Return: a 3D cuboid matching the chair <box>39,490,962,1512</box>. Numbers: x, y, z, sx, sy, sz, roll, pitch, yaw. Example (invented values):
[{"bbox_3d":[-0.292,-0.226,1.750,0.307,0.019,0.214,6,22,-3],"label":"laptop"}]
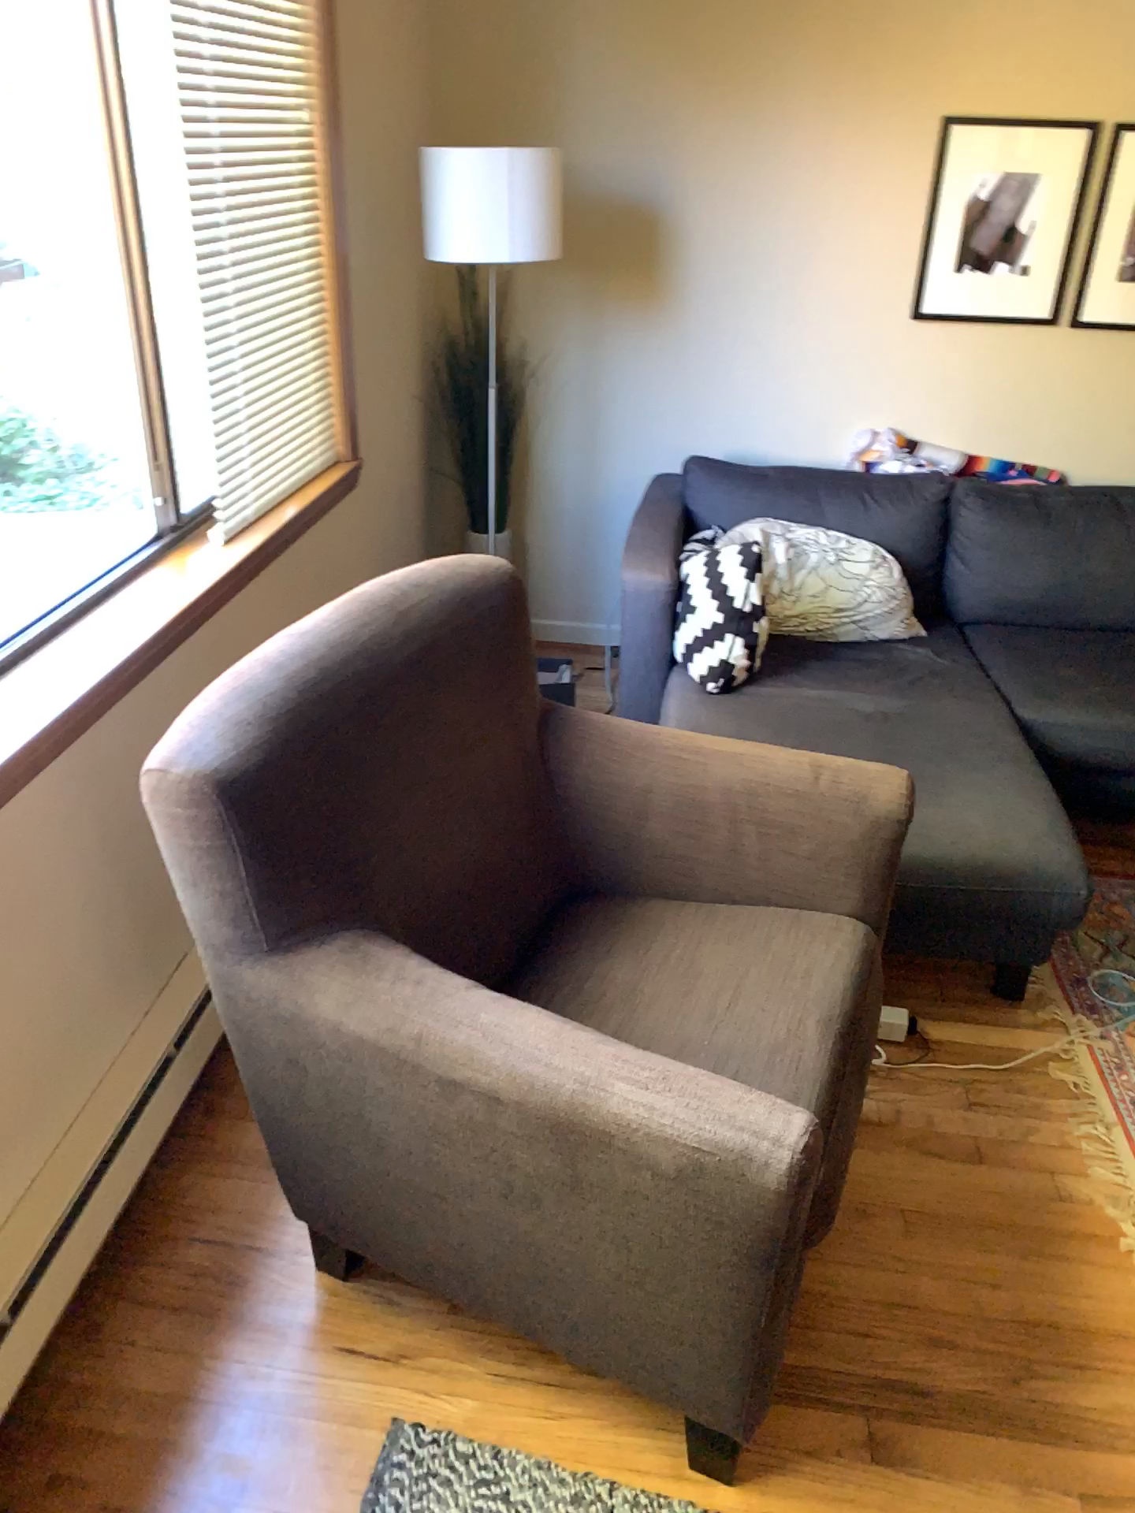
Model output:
[{"bbox_3d":[0.022,0.214,1.556,0.801,0.875,0.884,9,29,19],"label":"chair"}]
